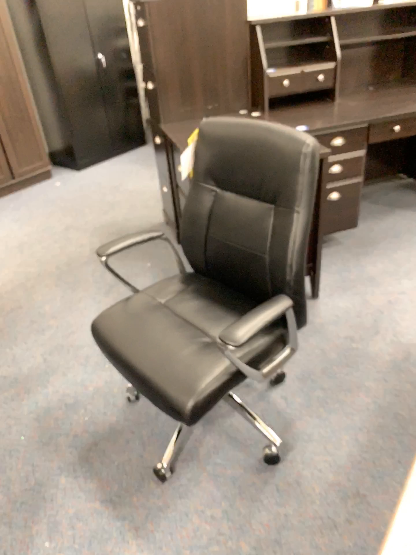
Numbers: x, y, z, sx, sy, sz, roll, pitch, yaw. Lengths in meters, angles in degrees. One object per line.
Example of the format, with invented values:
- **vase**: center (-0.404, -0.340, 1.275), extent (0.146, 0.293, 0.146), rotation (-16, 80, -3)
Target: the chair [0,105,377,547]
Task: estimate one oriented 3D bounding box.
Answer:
- **chair**: center (-0.019, 0.082, 1.375), extent (0.718, 0.996, 0.666), rotation (-30, 40, -32)
